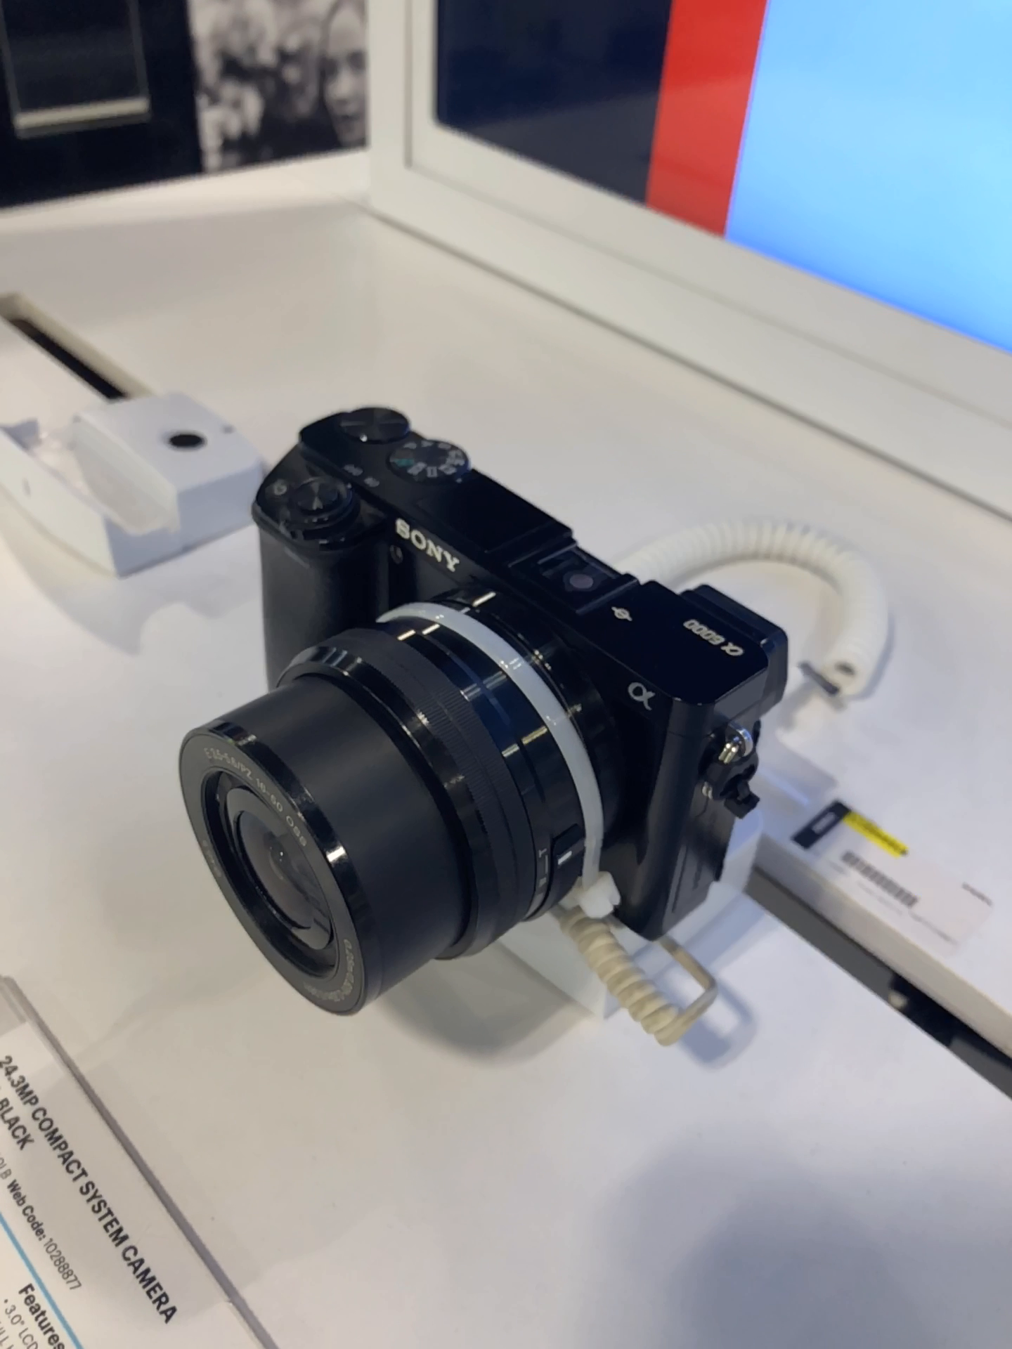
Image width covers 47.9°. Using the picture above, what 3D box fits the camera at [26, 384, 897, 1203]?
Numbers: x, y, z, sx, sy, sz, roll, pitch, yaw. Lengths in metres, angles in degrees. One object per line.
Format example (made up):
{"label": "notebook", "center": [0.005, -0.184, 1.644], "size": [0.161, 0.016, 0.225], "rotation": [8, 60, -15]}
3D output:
{"label": "camera", "center": [-0.013, 0.010, 0.234], "size": [0.100, 0.070, 0.131], "rotation": [-30, 51, -35]}
